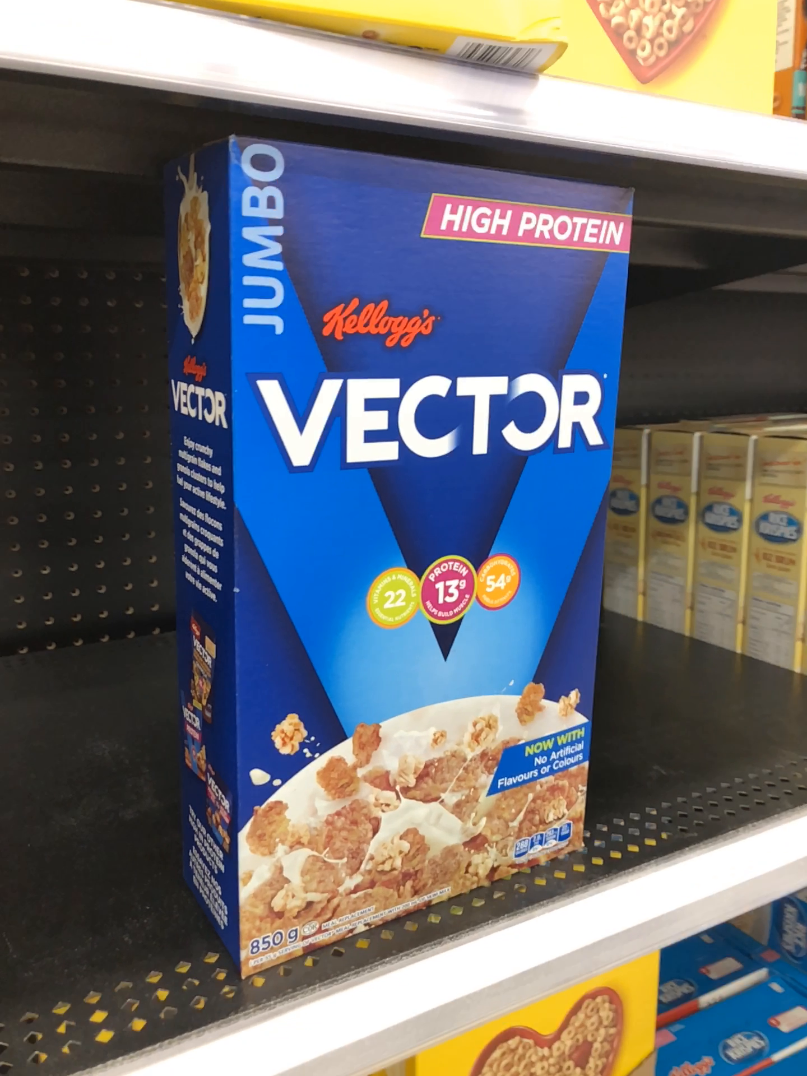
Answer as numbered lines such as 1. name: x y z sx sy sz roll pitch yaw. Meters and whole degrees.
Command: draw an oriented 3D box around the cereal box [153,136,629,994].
1. cereal box: -0.004 0.010 0.436 0.200 0.348 0.080 -7 15 -31
